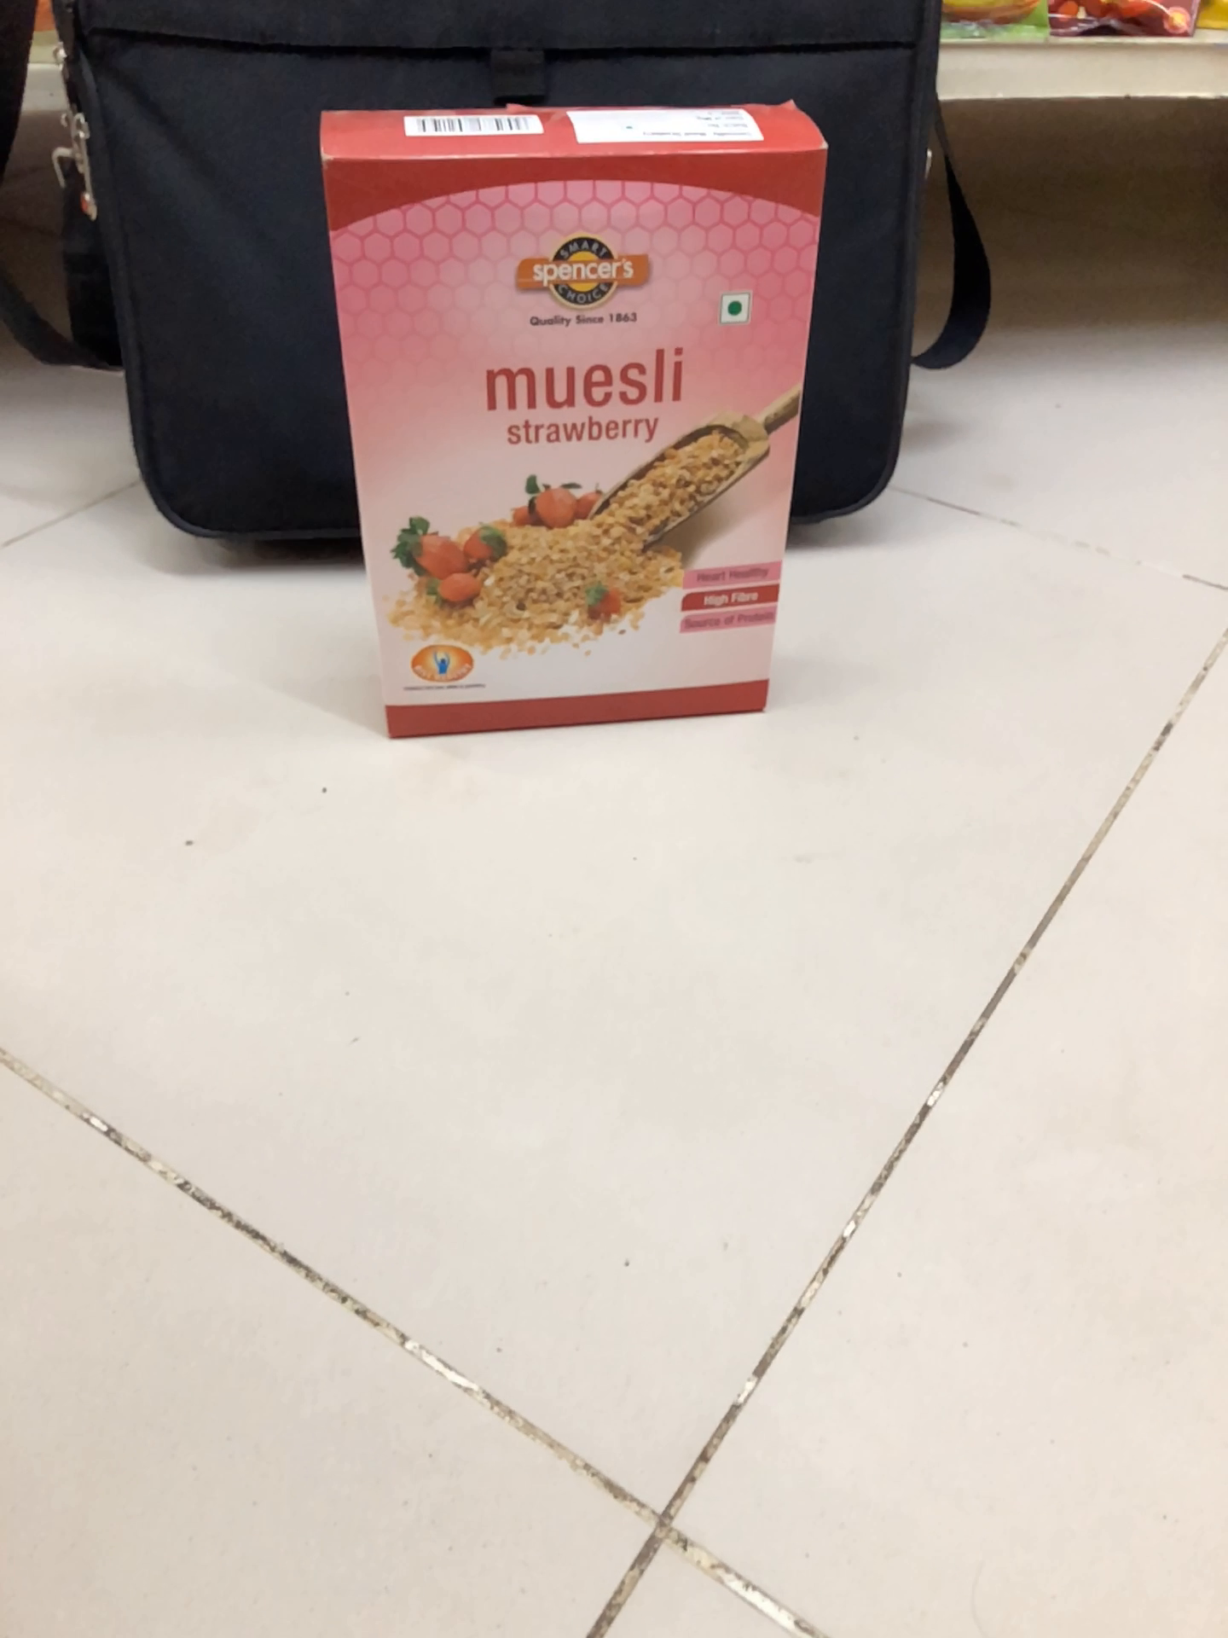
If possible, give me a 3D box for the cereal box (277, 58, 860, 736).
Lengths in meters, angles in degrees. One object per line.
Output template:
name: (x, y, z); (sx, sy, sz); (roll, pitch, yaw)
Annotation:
cereal box: (-0.019, -0.165, 0.568); (0.200, 0.258, 0.060); (-5, 40, -7)
